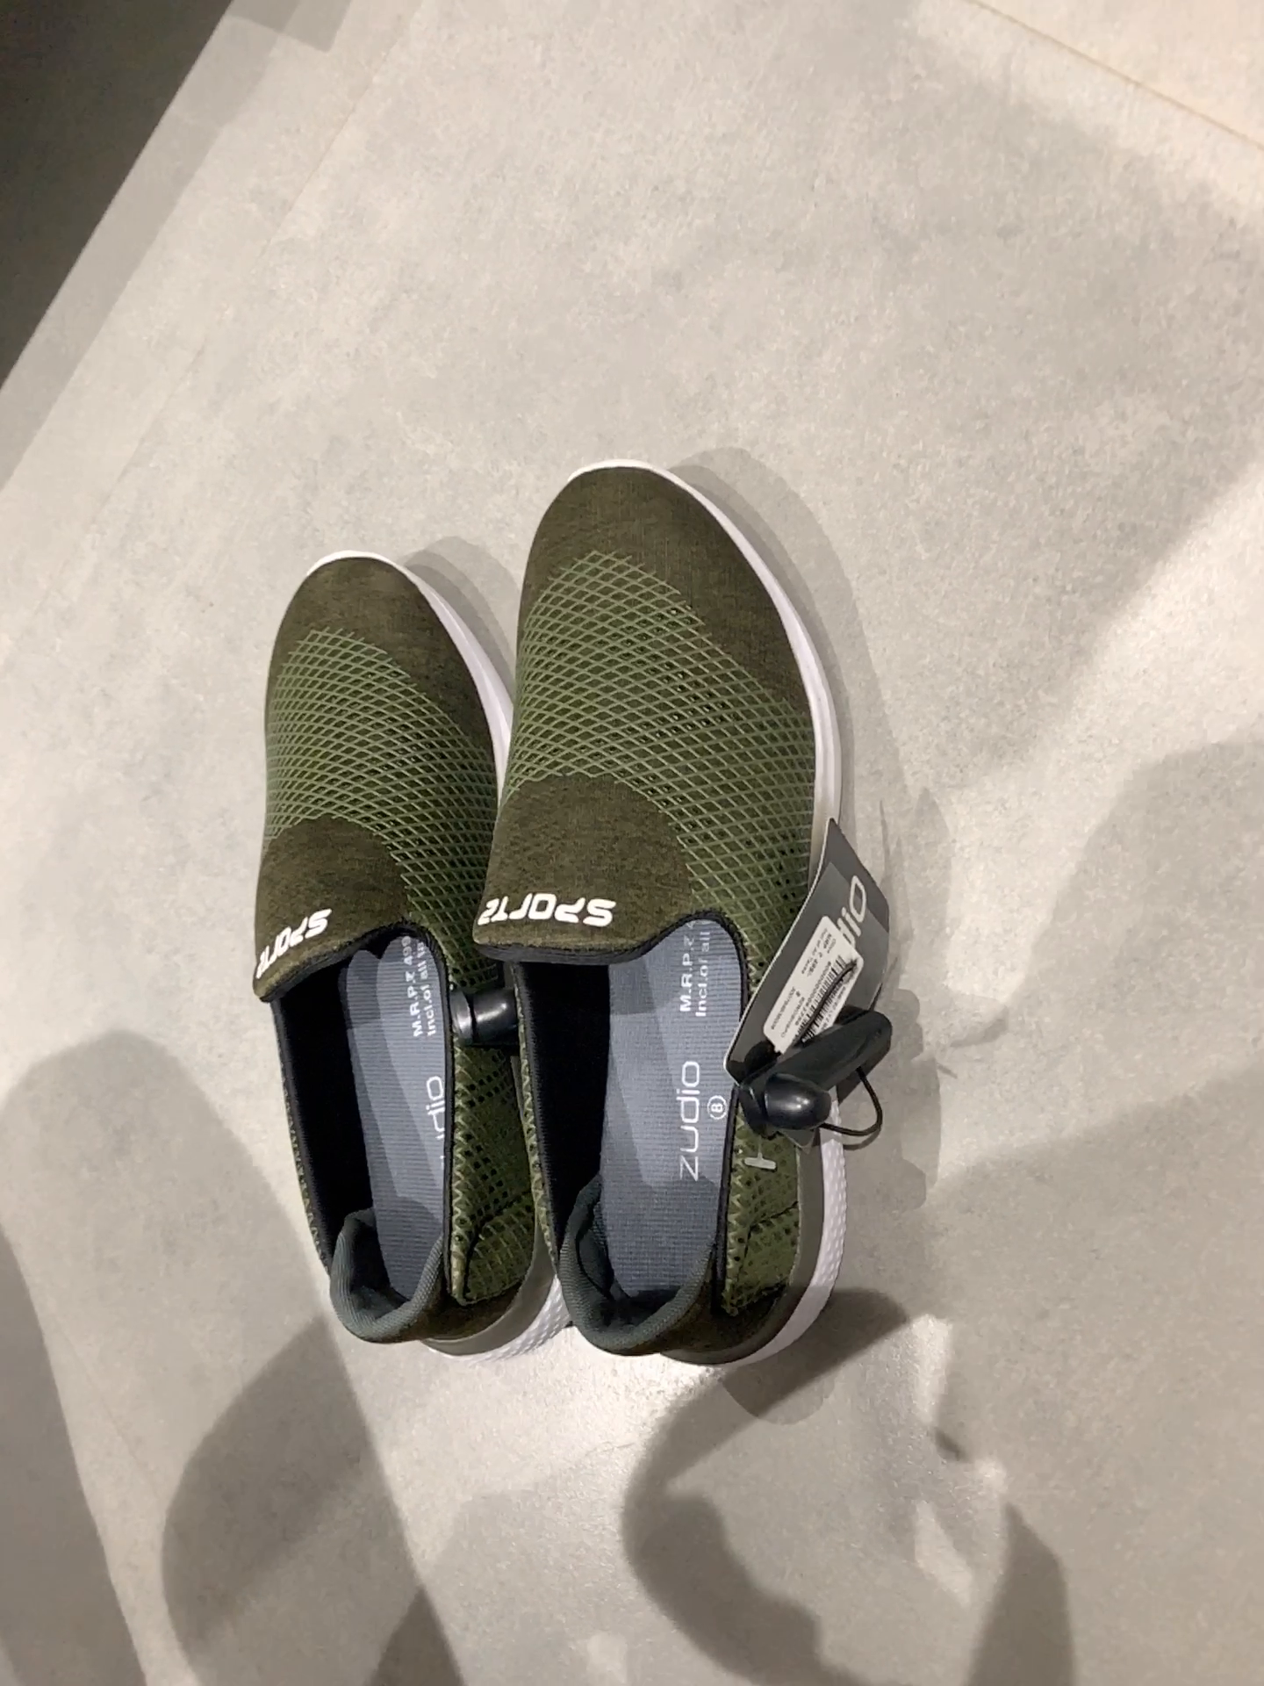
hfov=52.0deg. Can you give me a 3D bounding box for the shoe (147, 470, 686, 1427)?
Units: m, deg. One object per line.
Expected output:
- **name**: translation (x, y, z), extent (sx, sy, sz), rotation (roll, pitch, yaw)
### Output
- **shoe**: translation (-0.075, 0.035, 0.446), extent (0.100, 0.100, 0.280), rotation (-17, 77, 25)

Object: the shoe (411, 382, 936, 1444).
- **shoe**: translation (0.013, 0.022, 0.405), extent (0.100, 0.100, 0.280), rotation (-11, 80, 26)
